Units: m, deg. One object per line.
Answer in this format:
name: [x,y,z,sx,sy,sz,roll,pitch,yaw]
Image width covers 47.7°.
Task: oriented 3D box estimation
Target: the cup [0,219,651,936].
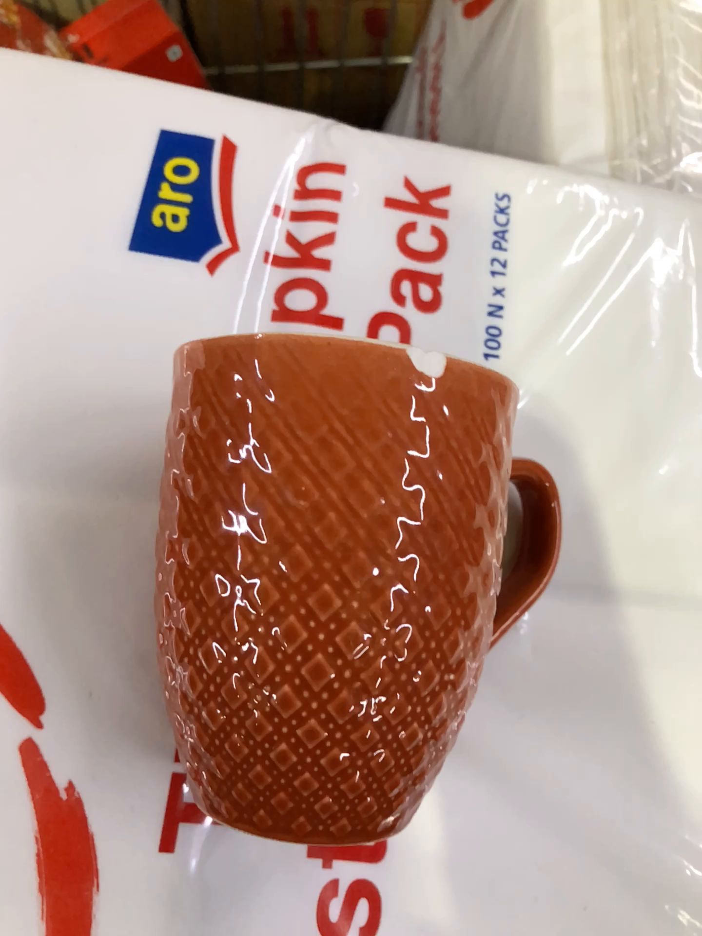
cup: [0.002,0.026,0.150,0.070,0.100,0.090,-5,74,41]
